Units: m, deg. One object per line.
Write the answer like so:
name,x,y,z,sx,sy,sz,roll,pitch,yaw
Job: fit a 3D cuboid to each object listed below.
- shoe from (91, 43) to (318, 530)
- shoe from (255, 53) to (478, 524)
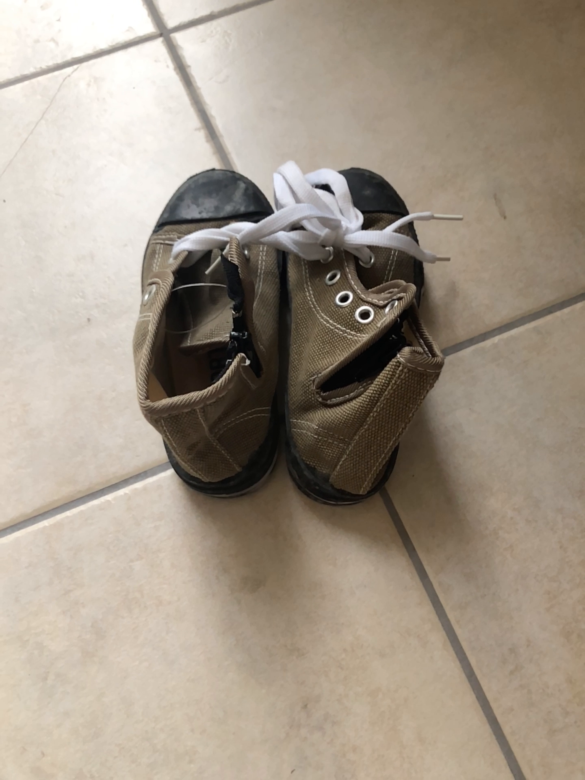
shoe,-0.041,-0.046,0.318,0.080,0.110,0.200,-7,68,0
shoe,0.027,-0.045,0.321,0.080,0.110,0.200,-2,68,2
